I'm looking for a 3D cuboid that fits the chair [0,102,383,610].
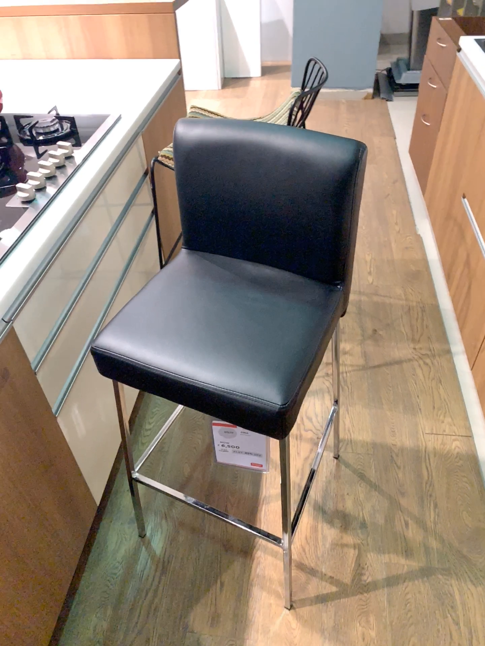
[{"bbox_3d":[-0.050,0.121,1.165,0.500,1.026,0.522,14,45,18],"label":"chair"}]
